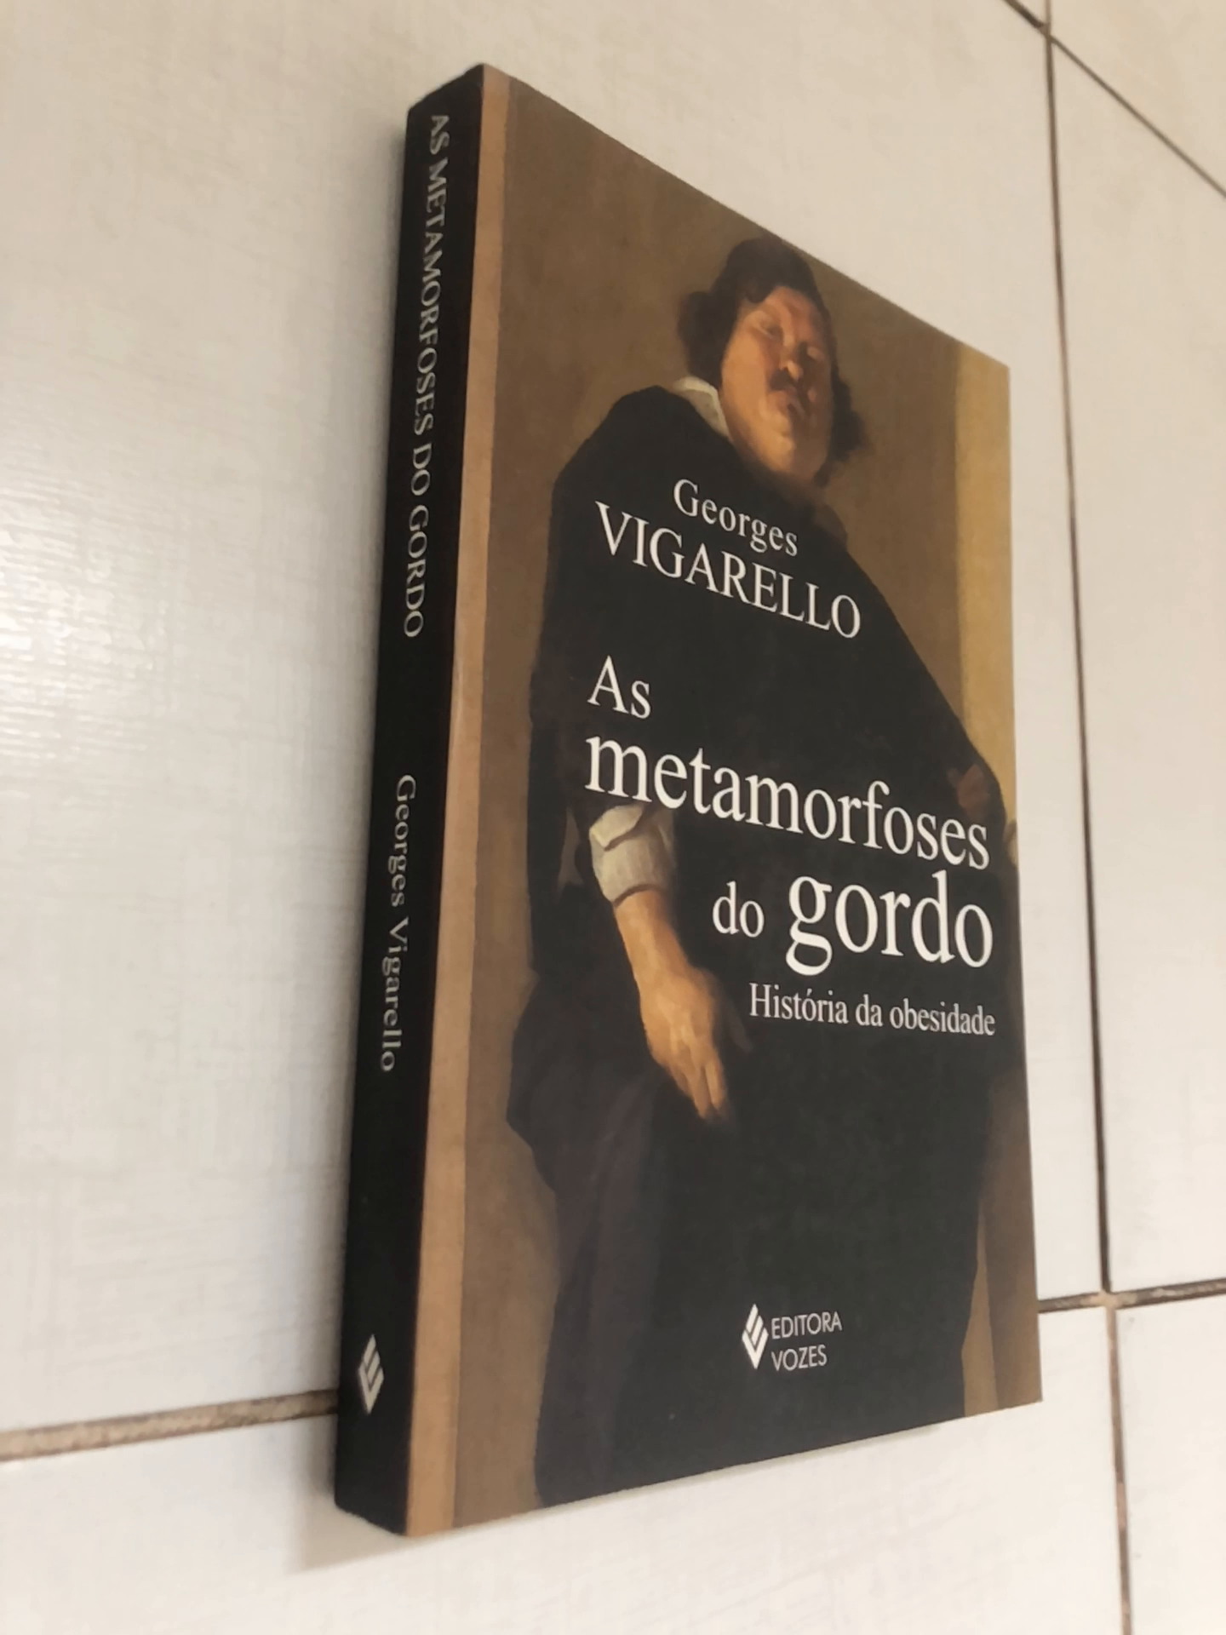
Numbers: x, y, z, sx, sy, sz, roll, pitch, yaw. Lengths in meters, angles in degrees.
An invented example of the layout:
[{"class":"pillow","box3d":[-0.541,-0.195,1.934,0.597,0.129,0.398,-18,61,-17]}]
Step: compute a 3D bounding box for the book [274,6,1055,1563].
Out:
[{"class":"book","box3d":[0.020,-0.004,0.227,0.137,0.023,0.204,10,77,-38]}]
